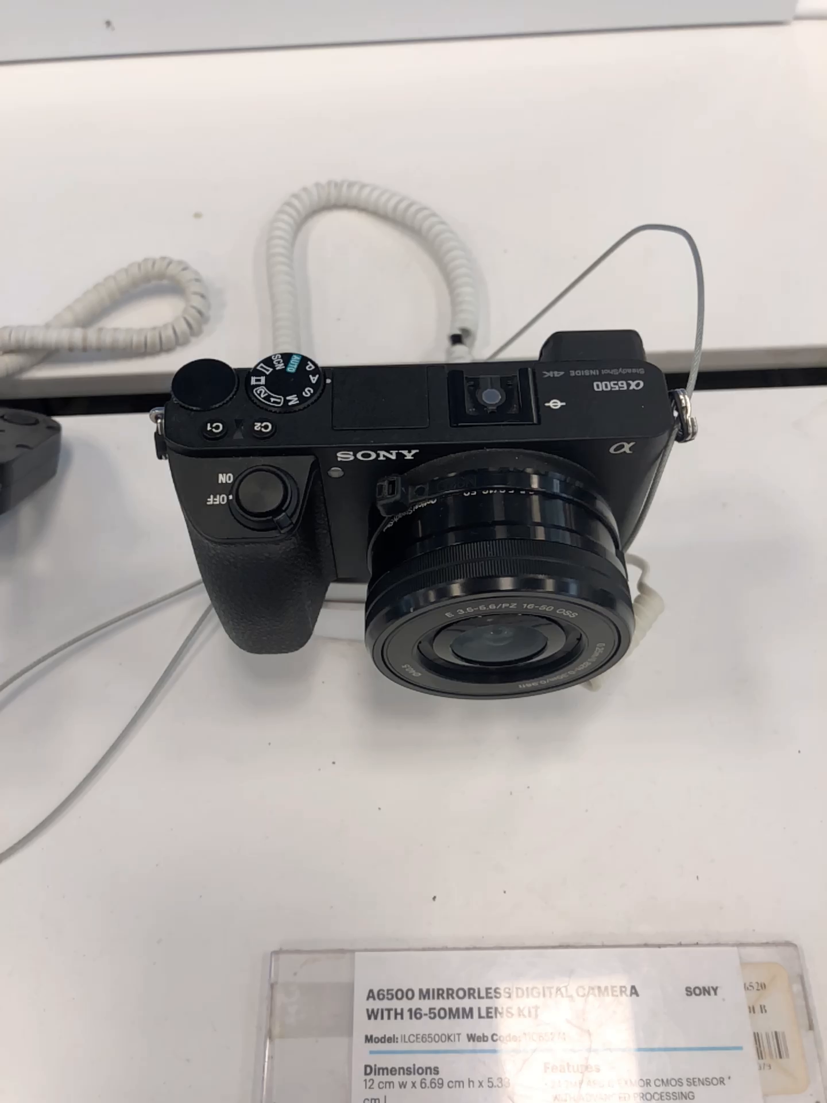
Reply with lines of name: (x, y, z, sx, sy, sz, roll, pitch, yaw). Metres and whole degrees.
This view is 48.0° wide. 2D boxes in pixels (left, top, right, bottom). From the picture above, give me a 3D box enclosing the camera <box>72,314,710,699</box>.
camera: (-0.004, -0.008, 0.237, 0.130, 0.070, 0.070, 0, 59, 2)
